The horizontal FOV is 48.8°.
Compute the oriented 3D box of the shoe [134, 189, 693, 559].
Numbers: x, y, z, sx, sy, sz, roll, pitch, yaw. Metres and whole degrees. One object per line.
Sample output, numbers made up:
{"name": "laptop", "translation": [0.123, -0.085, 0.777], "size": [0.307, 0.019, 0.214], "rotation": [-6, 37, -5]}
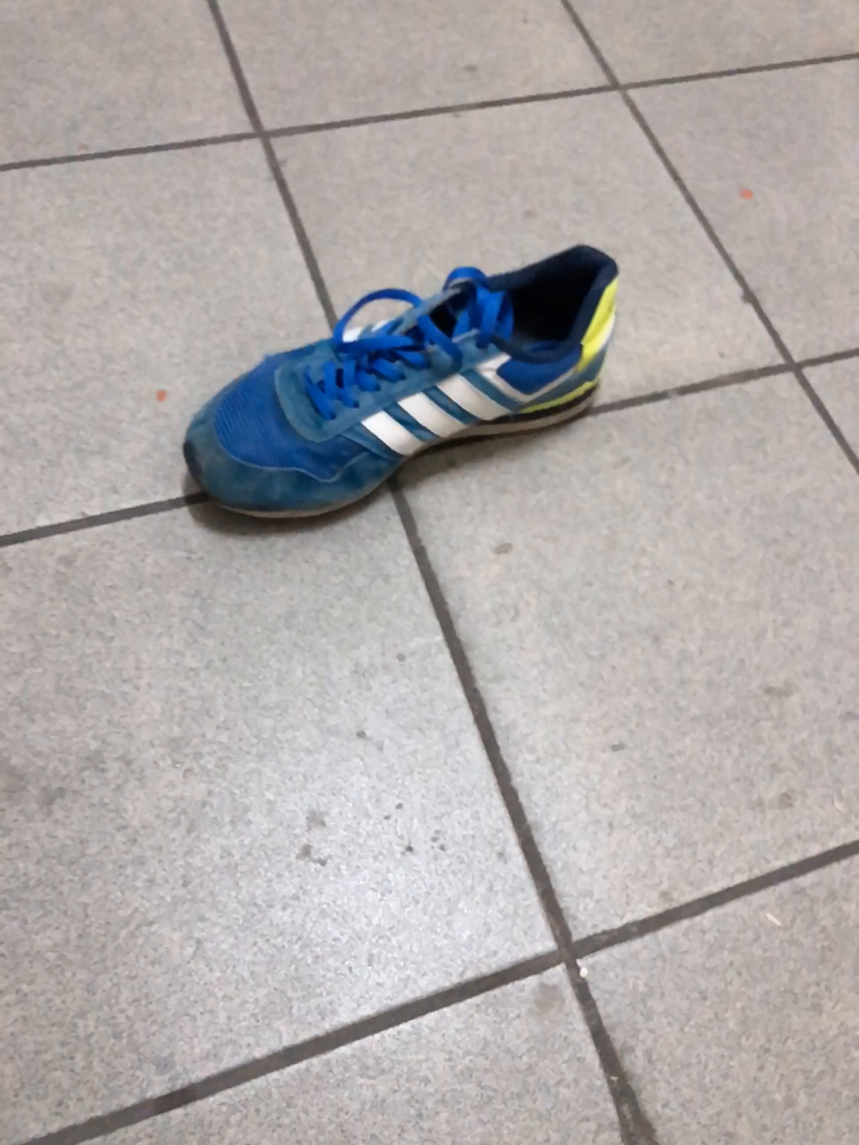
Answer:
{"name": "shoe", "translation": [-0.008, -0.123, 0.569], "size": [0.292, 0.100, 0.110], "rotation": [-19, 66, -16]}
